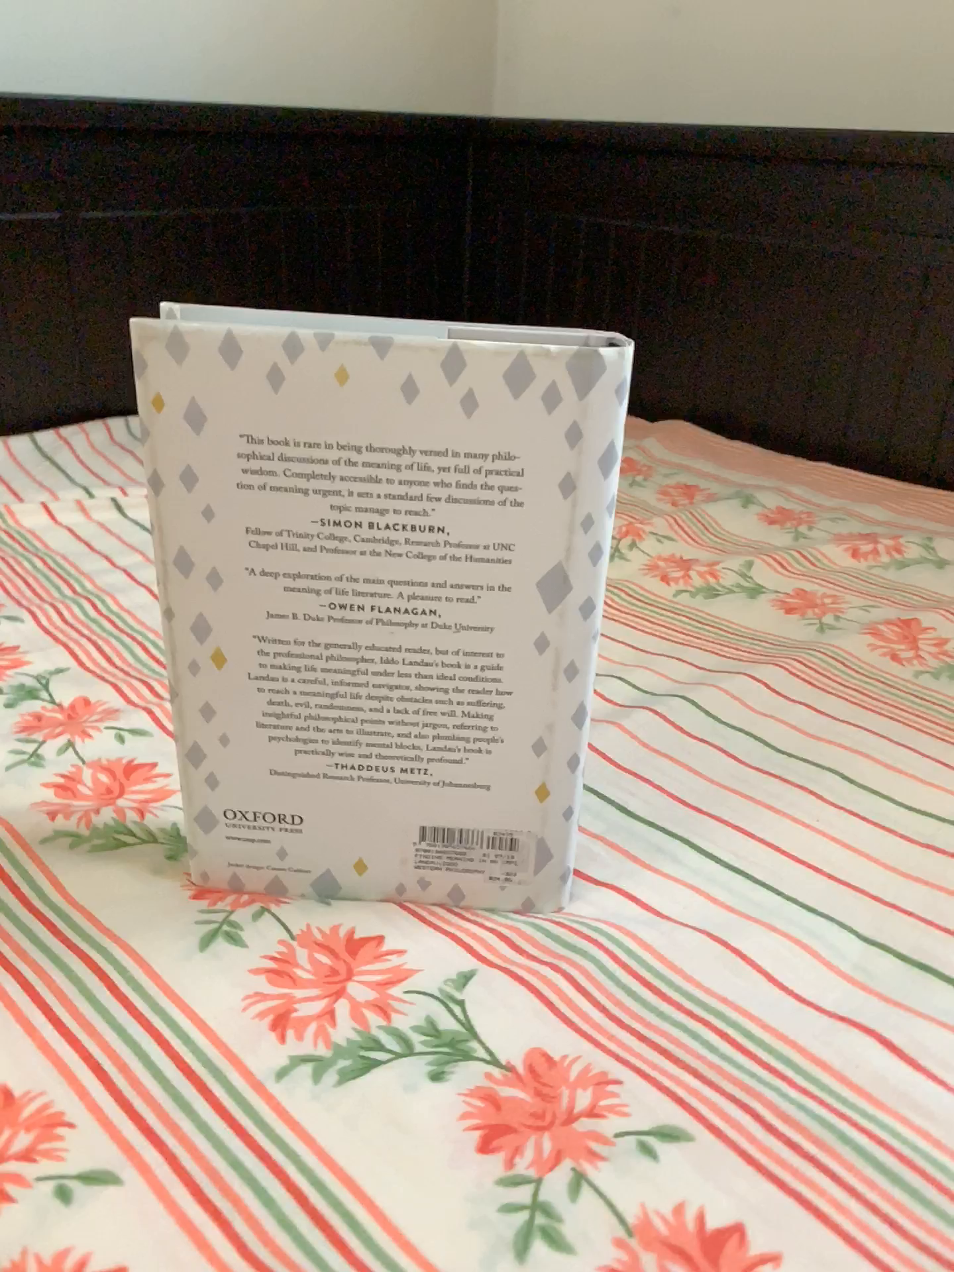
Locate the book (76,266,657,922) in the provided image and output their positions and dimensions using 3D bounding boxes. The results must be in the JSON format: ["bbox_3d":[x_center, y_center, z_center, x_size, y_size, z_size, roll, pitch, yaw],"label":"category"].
[{"bbox_3d":[-0.034,-0.003,0.333,0.160,0.218,0.030,4,27,2],"label":"book"}]
